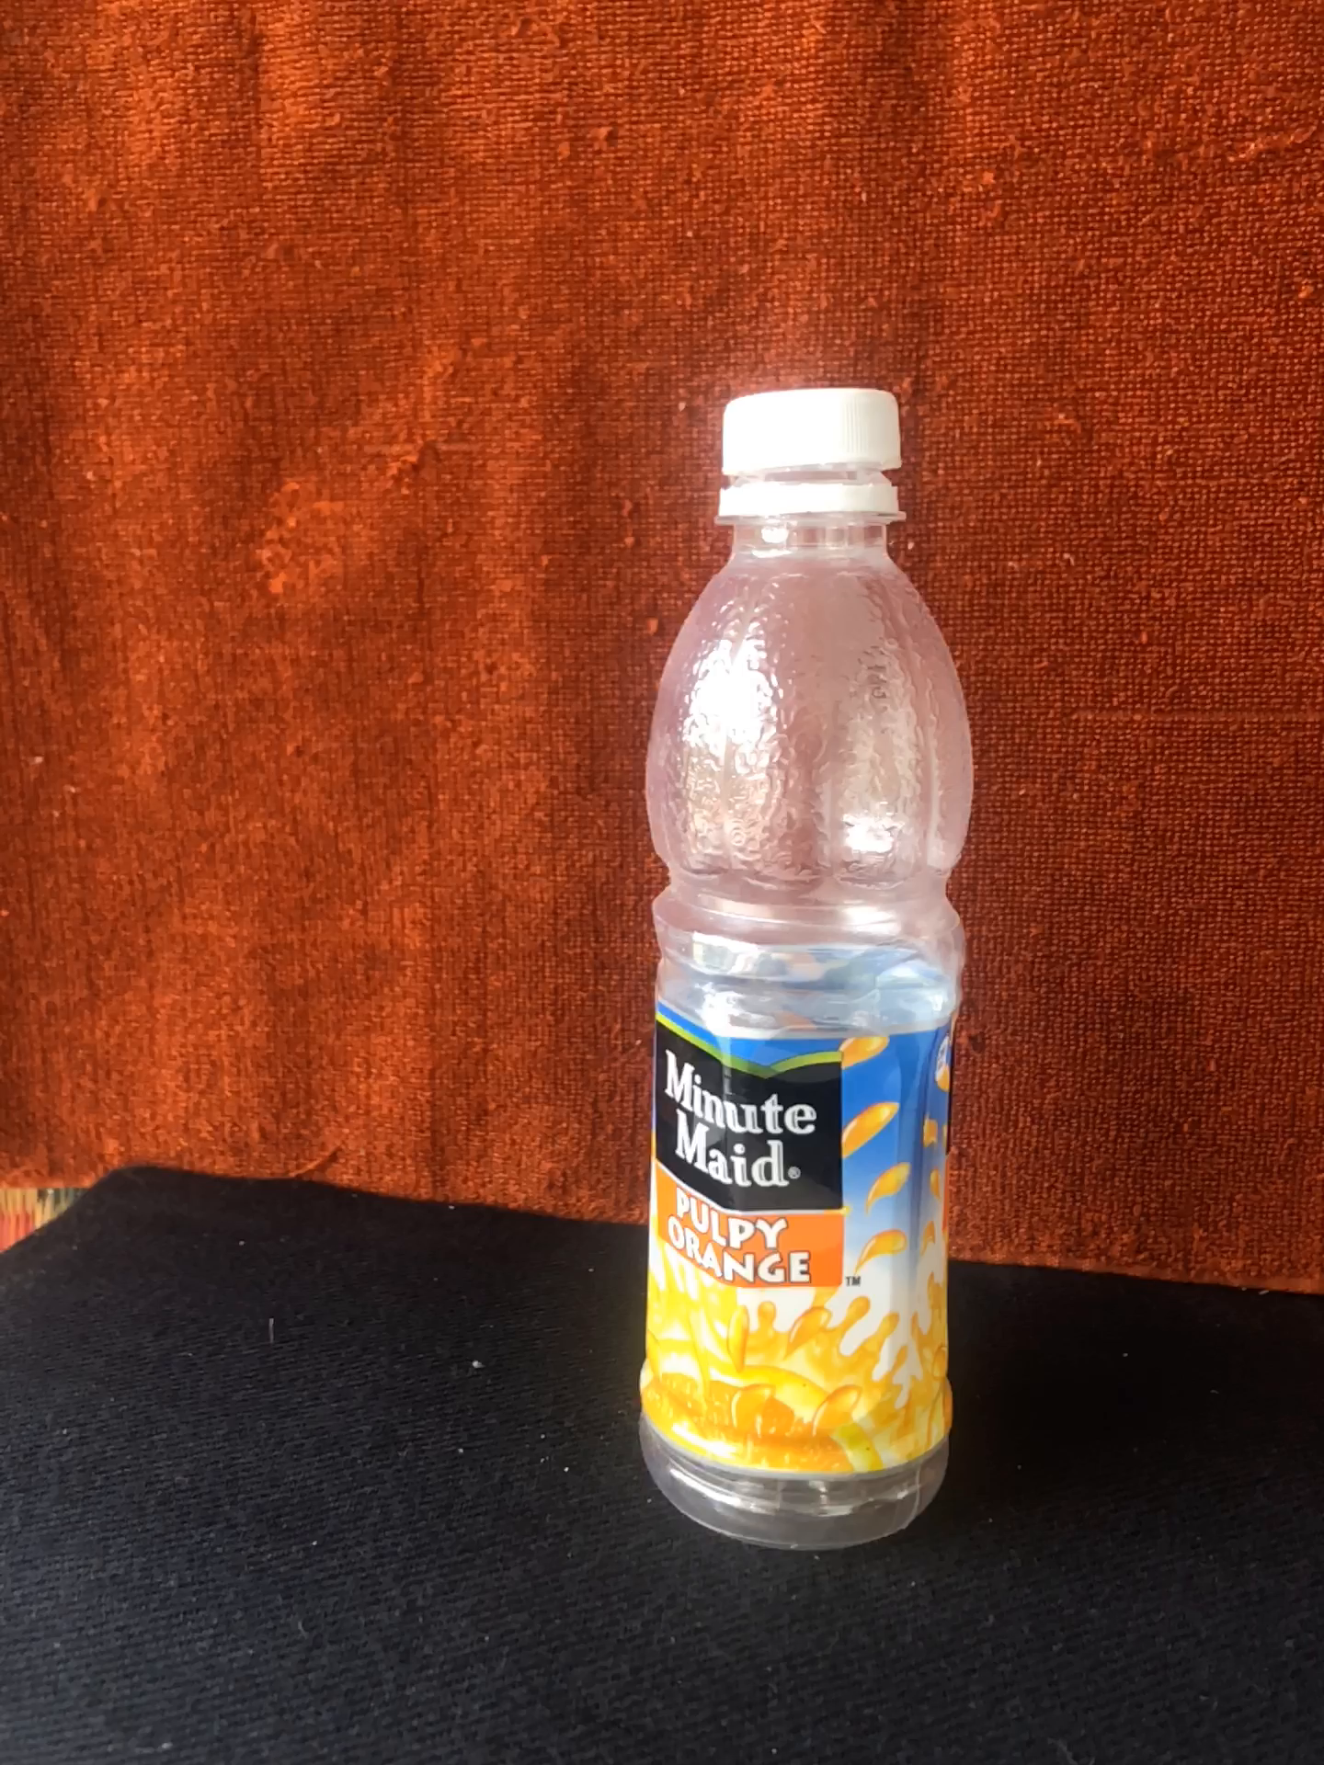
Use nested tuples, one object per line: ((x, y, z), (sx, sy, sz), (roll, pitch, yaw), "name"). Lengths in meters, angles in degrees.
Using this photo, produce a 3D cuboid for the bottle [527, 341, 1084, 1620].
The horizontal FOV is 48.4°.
((0.025, 0.013, 0.267), (0.070, 0.199, 0.070), (1, 12, 0), "bottle")
